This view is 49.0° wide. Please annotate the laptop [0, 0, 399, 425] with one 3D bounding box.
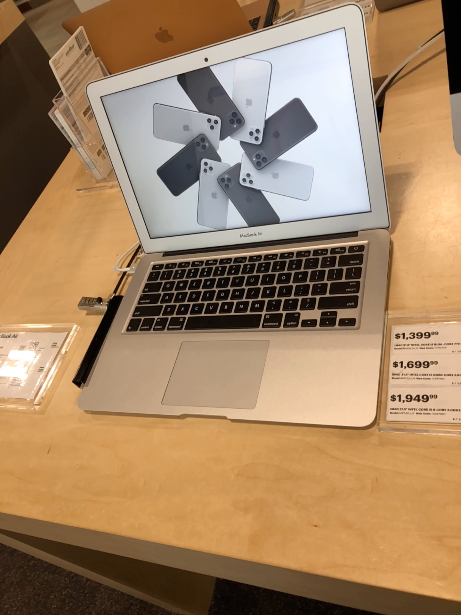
[{"bbox_3d":[-0.027,-0.082,0.510,0.324,0.202,0.310,-3,52,29],"label":"laptop"}]
